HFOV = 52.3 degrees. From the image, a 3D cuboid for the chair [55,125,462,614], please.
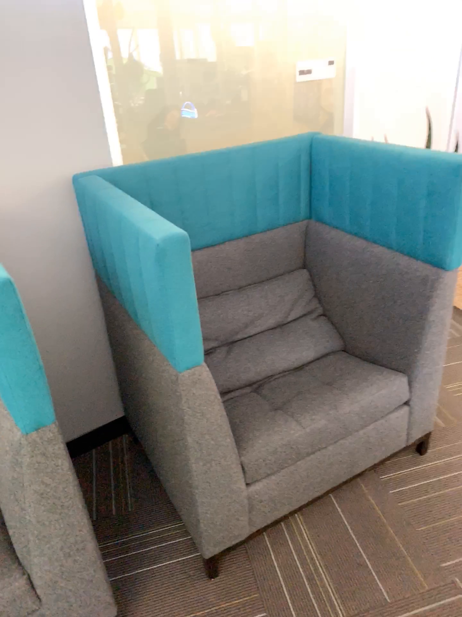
[{"bbox_3d":[0.122,0.061,1.778,1.051,1.213,1.014,-19,31,-24],"label":"chair"}]
